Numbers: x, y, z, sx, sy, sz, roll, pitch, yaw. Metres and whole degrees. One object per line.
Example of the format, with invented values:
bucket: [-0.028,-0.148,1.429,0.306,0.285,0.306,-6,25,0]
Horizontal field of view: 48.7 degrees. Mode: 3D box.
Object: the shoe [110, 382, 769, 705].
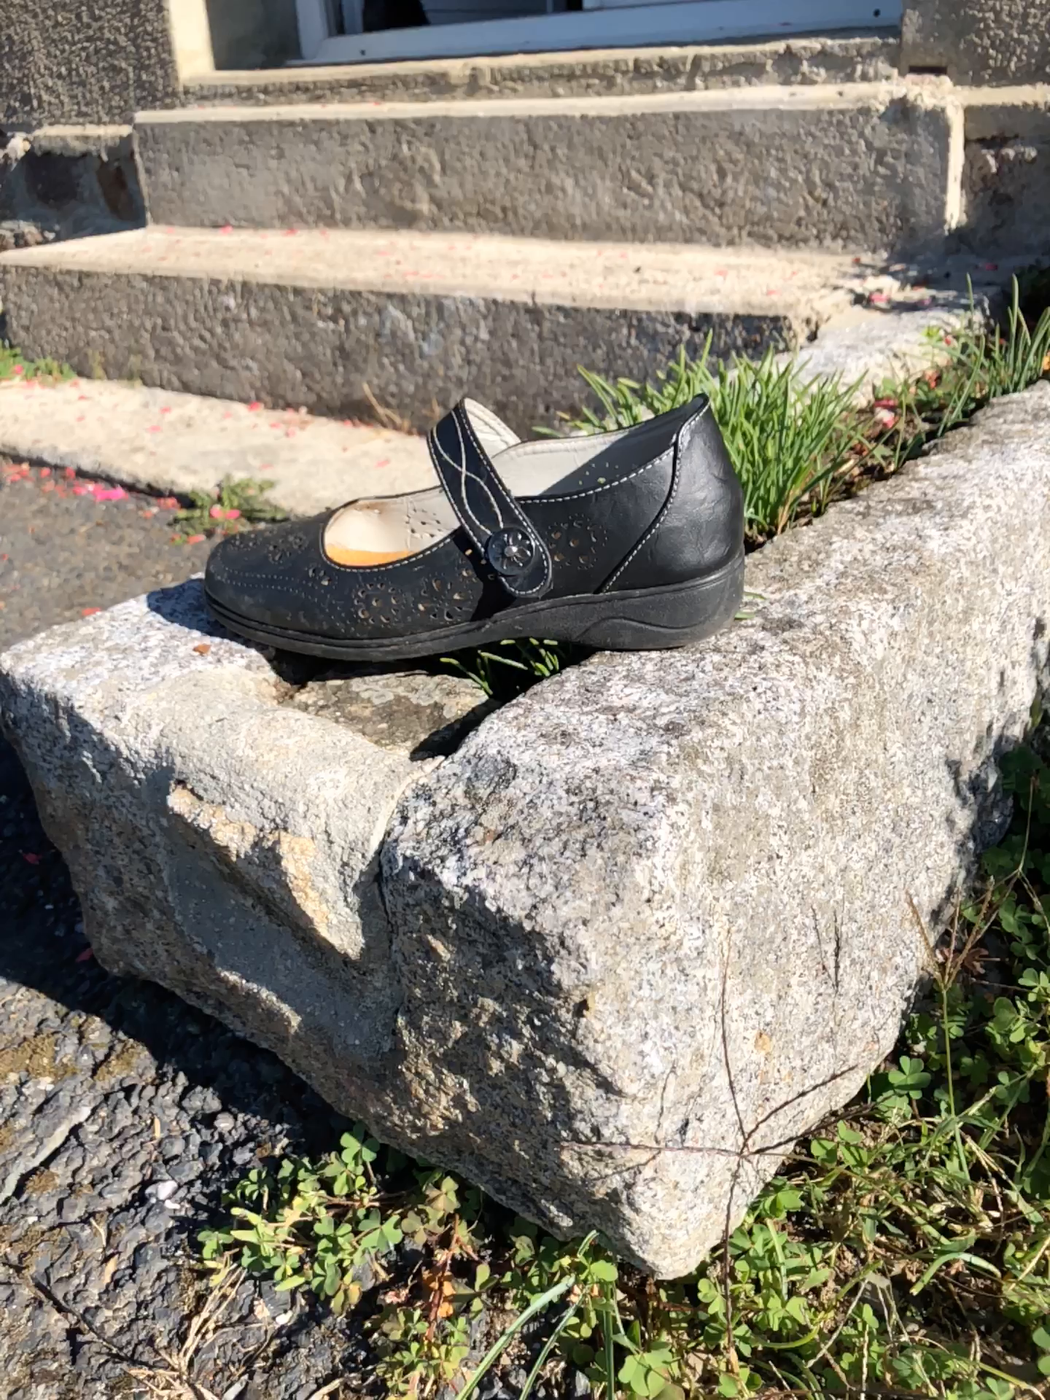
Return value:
shoe: [-0.028,-0.073,0.494,0.250,0.099,0.101,4,28,13]
